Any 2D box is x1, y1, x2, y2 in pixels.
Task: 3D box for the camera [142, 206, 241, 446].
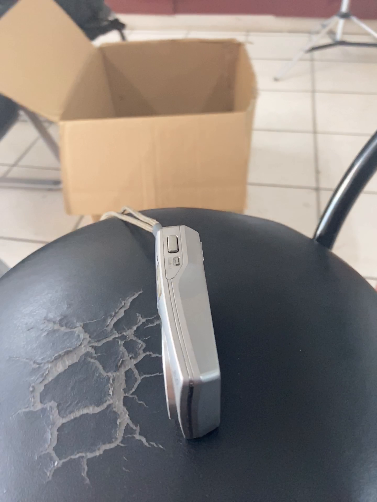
[{"bbox_3d":[-0.001,0.033,0.200,0.030,0.060,0.101,-8,45,-4],"label":"camera"}]
